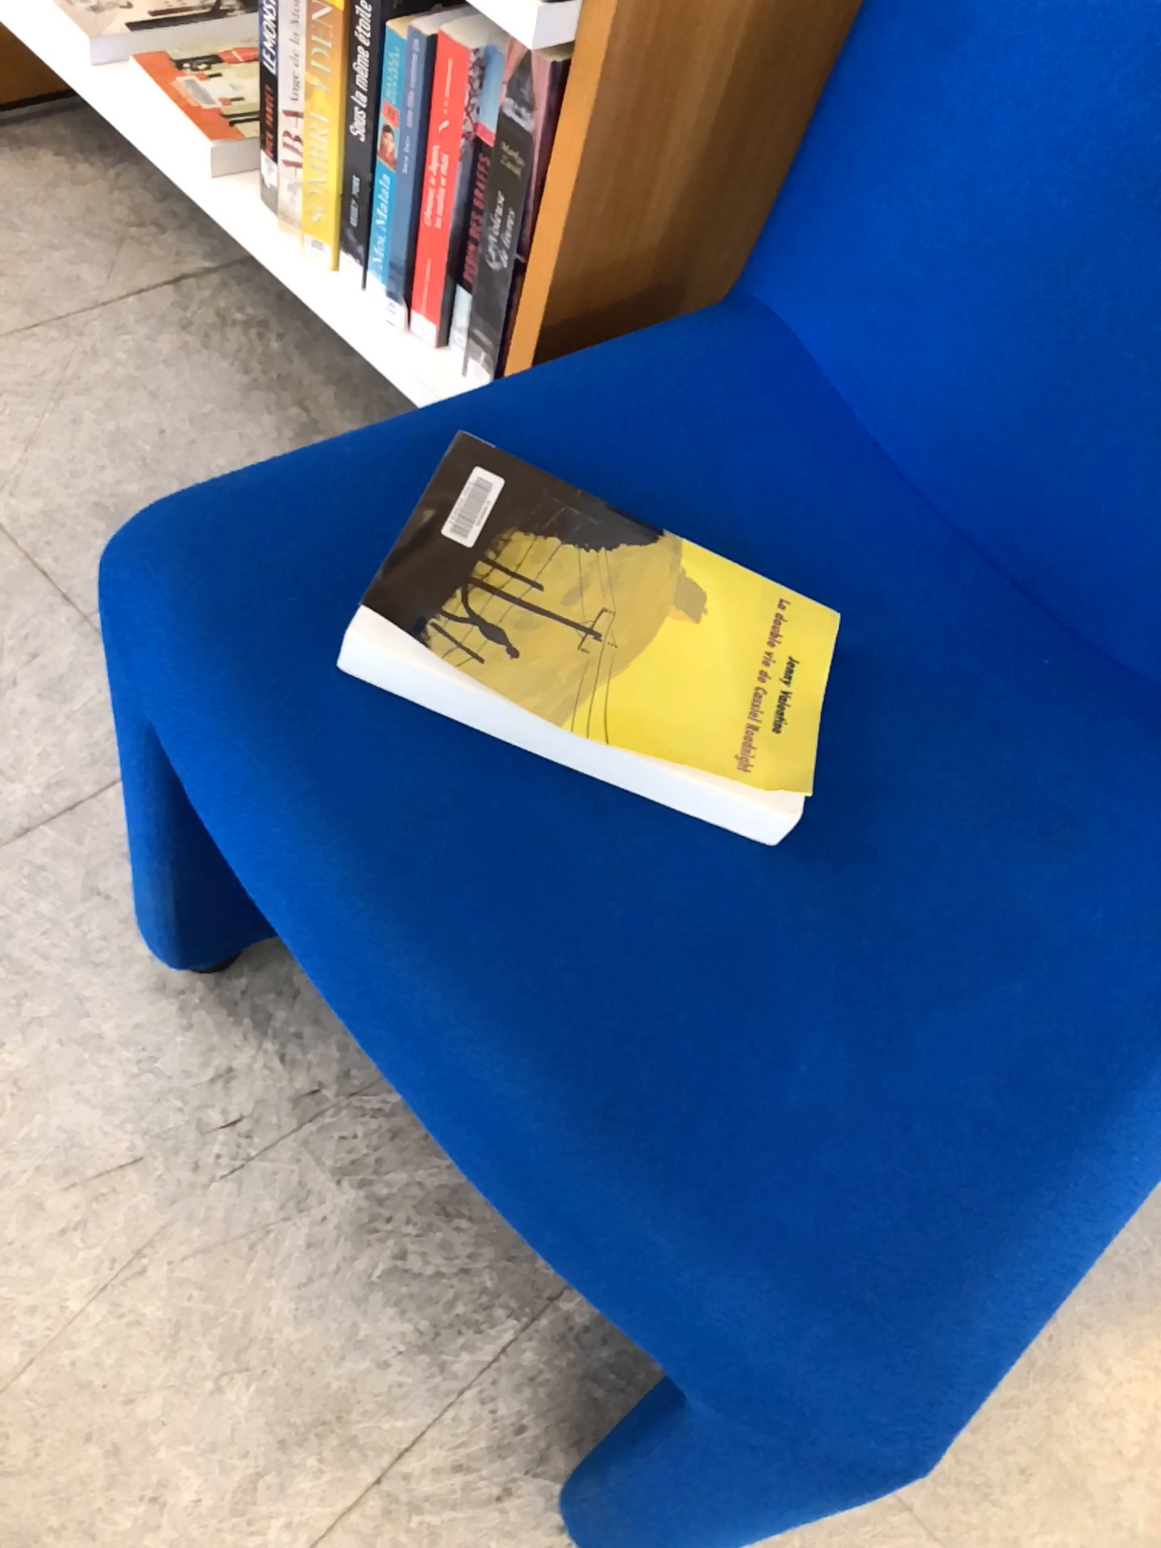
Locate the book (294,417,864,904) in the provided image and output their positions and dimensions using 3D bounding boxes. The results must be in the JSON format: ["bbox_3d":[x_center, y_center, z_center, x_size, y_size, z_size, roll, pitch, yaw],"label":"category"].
[{"bbox_3d":[0.007,-0.054,0.558,0.214,0.040,0.146,25,52,-3],"label":"book"}]
